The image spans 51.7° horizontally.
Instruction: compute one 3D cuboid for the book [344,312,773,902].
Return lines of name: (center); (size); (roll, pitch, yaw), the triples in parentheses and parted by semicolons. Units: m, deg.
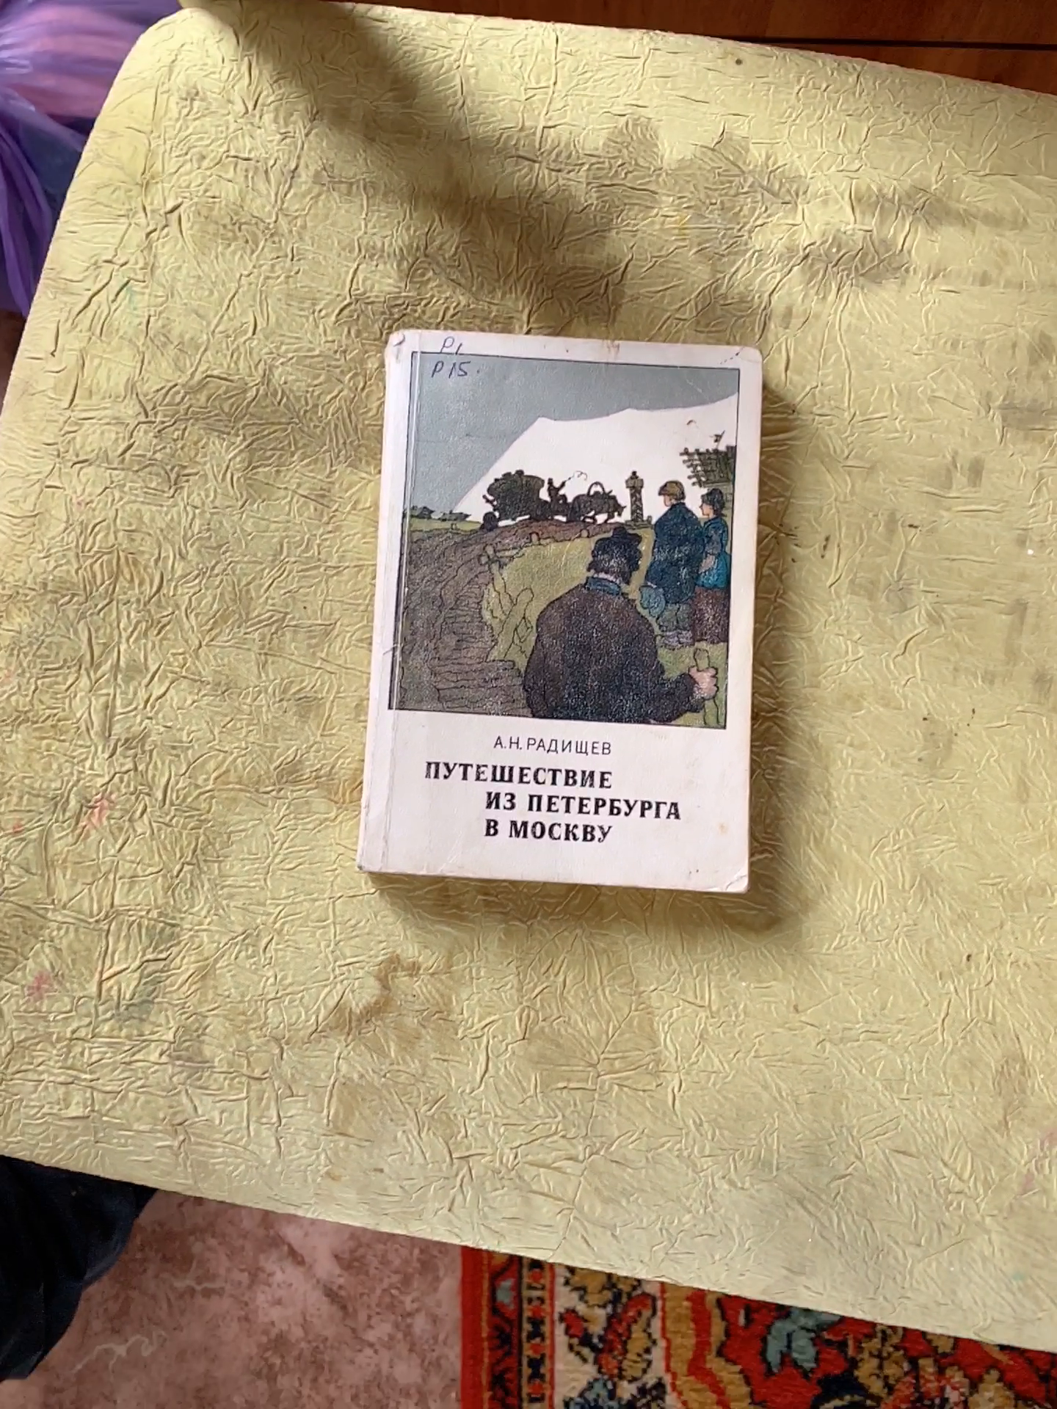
book: (0.010, -0.029, 0.316); (0.111, 0.020, 0.162); (3, 83, 0)
